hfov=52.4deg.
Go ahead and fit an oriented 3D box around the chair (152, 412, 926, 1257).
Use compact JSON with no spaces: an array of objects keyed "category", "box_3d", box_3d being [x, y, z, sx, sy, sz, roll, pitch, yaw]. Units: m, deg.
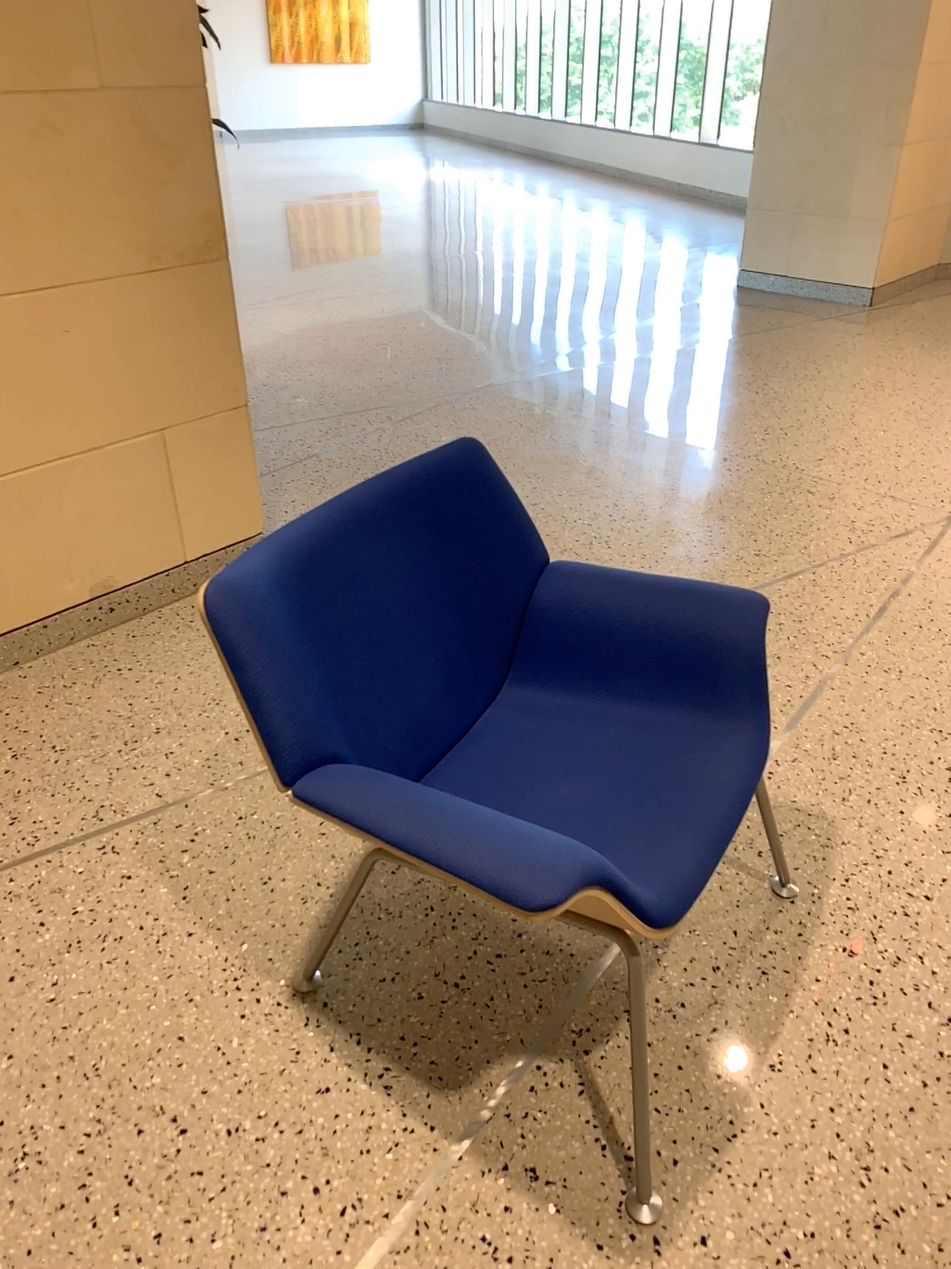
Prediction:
[{"category":"chair","box_3d":[0.134,0.186,1.474,0.759,0.728,0.783,17,35,26]}]
